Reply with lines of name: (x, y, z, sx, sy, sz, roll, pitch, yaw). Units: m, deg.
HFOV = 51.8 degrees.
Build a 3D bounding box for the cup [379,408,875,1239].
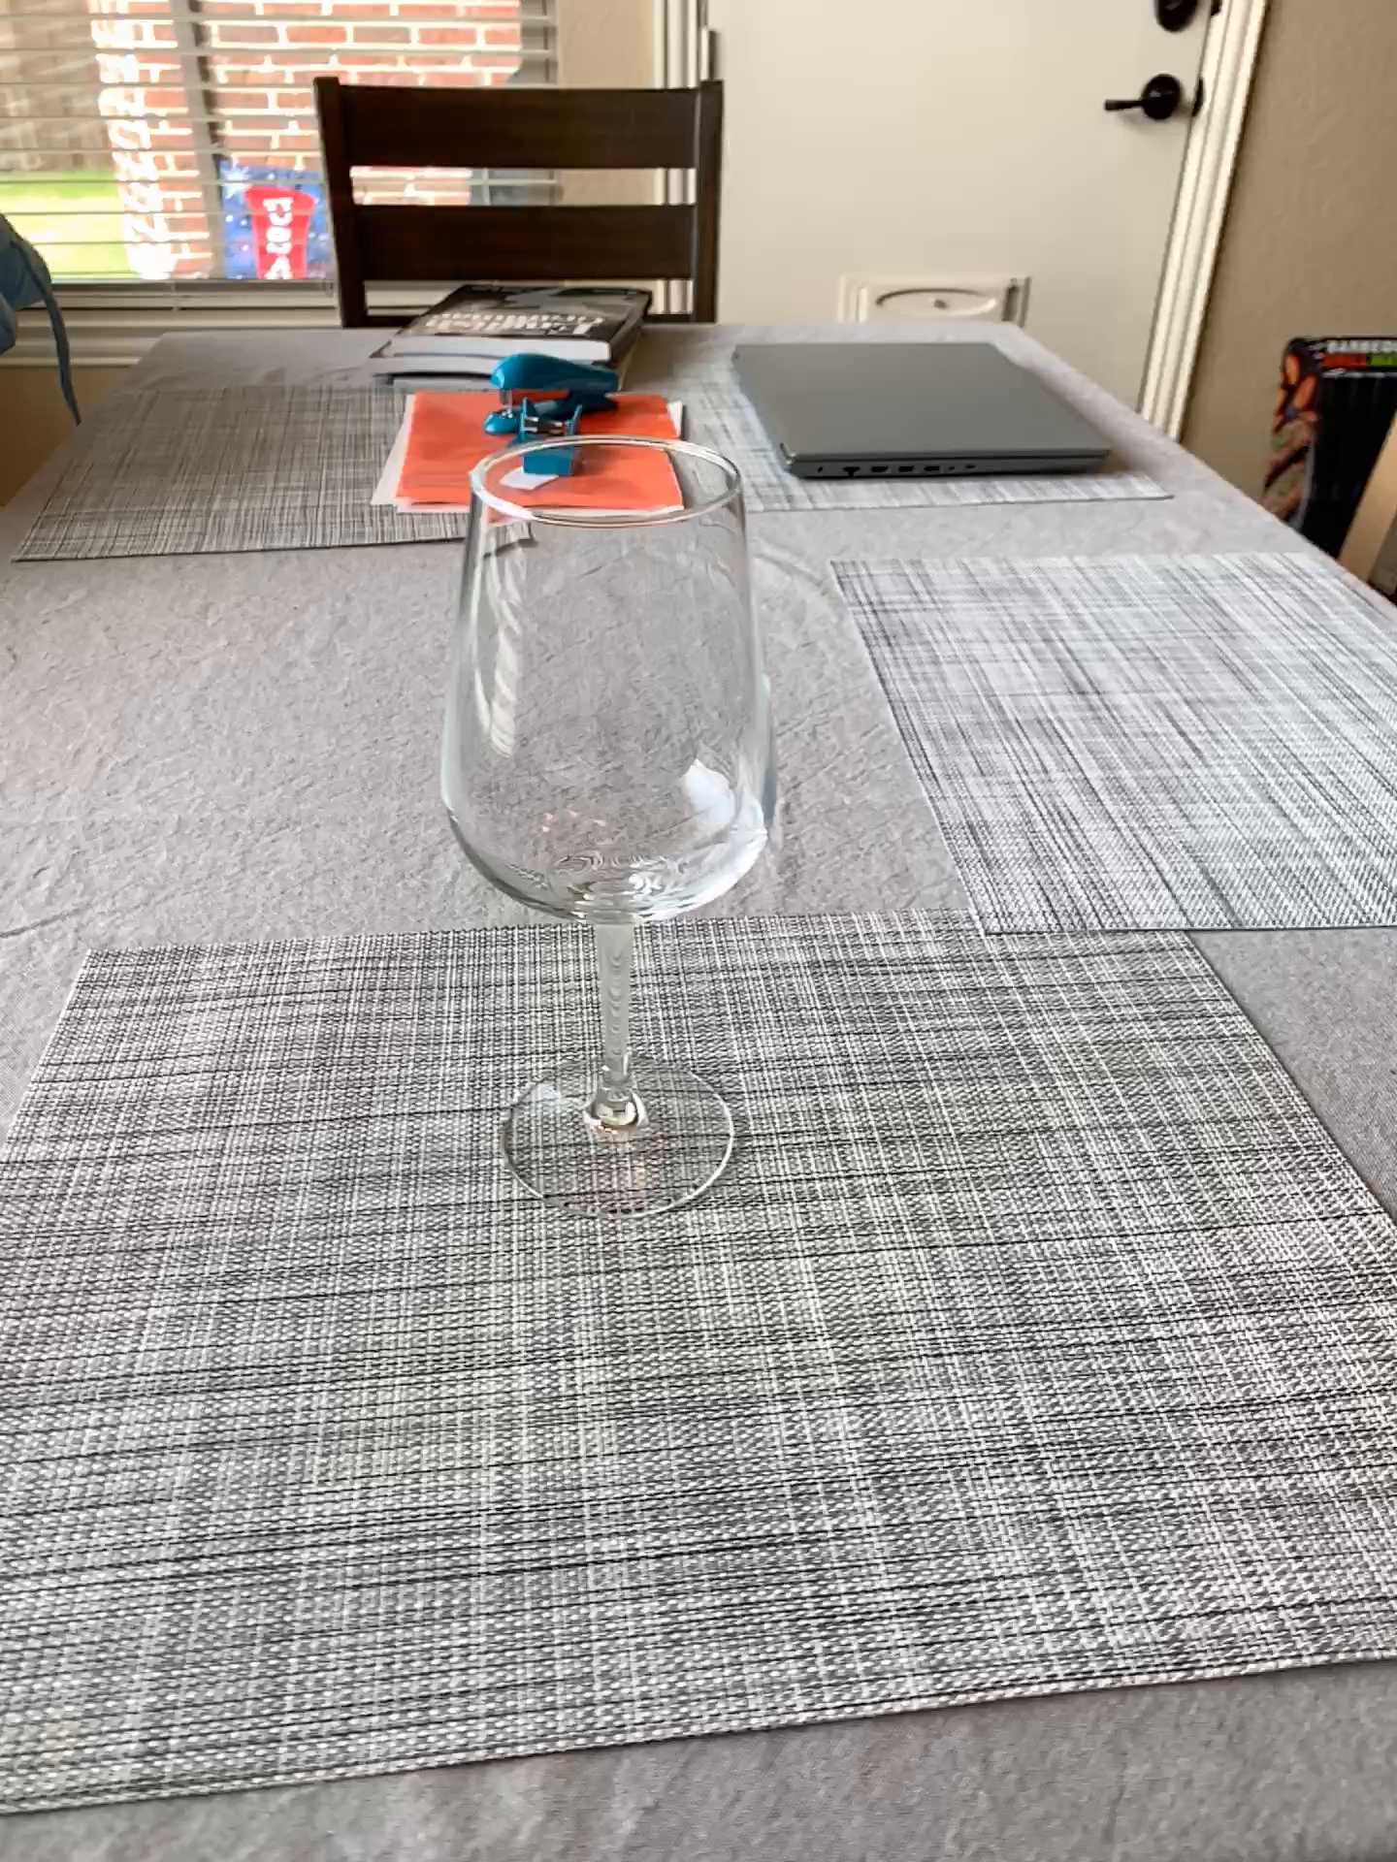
cup: (-0.020, -0.026, 0.412, 0.107, 0.214, 0.101, 1, 34, -1)
